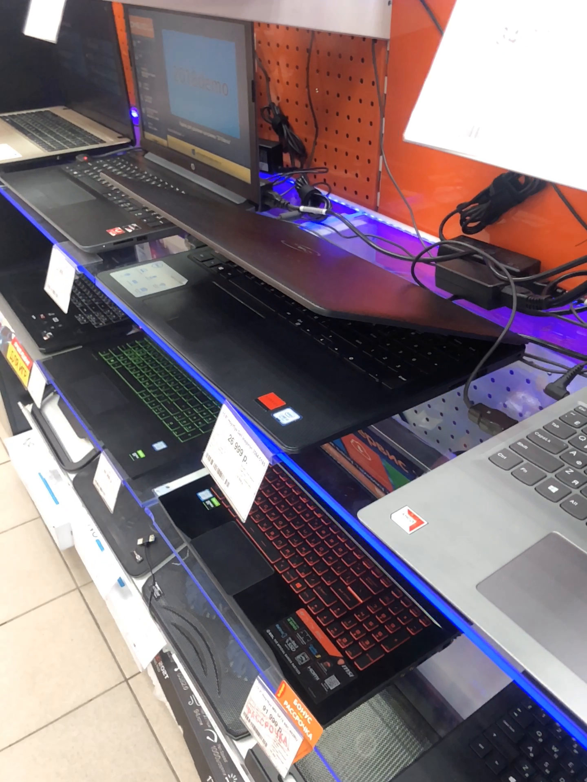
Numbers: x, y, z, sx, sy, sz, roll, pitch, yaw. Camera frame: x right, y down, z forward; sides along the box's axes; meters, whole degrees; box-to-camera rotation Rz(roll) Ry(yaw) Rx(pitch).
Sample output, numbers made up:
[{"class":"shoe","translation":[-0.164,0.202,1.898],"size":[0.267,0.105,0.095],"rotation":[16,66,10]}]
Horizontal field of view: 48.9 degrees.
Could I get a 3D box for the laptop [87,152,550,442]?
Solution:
[{"class":"laptop","translation":[-0.004,-0.124,0.606],"size":[0.238,0.100,0.372],"rotation":[-21,38,-28]}]
